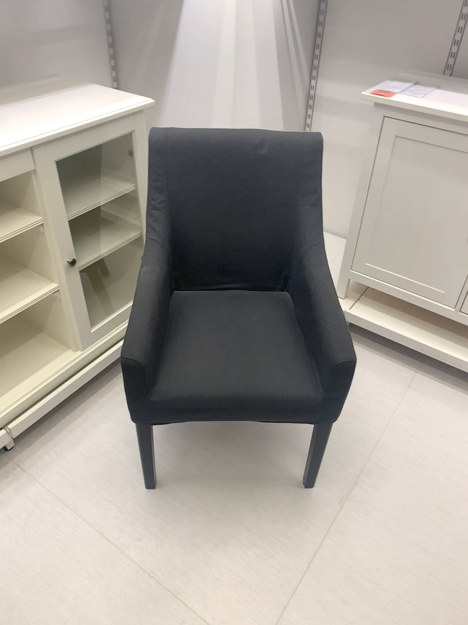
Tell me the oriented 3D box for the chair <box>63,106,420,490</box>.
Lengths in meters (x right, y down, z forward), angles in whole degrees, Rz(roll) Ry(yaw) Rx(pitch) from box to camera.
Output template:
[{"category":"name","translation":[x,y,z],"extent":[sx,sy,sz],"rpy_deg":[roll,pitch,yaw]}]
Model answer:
[{"category":"chair","translation":[-0.003,-0.016,1.416],"extent":[0.660,0.946,0.613],"rpy_deg":[1,39,-2]}]
